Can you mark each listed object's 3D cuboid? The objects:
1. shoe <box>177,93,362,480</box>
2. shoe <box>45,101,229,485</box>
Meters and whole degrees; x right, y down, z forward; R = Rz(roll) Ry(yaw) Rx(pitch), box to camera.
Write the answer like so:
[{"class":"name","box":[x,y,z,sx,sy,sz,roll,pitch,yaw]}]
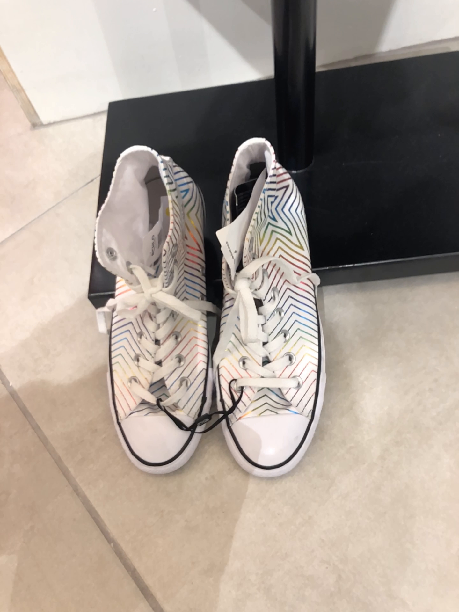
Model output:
[{"class":"shoe","box":[0.029,-0.009,0.445,0.120,0.140,0.301,-4,71,6]},{"class":"shoe","box":[-0.074,-0.006,0.466,0.120,0.140,0.301,-4,78,6]}]
